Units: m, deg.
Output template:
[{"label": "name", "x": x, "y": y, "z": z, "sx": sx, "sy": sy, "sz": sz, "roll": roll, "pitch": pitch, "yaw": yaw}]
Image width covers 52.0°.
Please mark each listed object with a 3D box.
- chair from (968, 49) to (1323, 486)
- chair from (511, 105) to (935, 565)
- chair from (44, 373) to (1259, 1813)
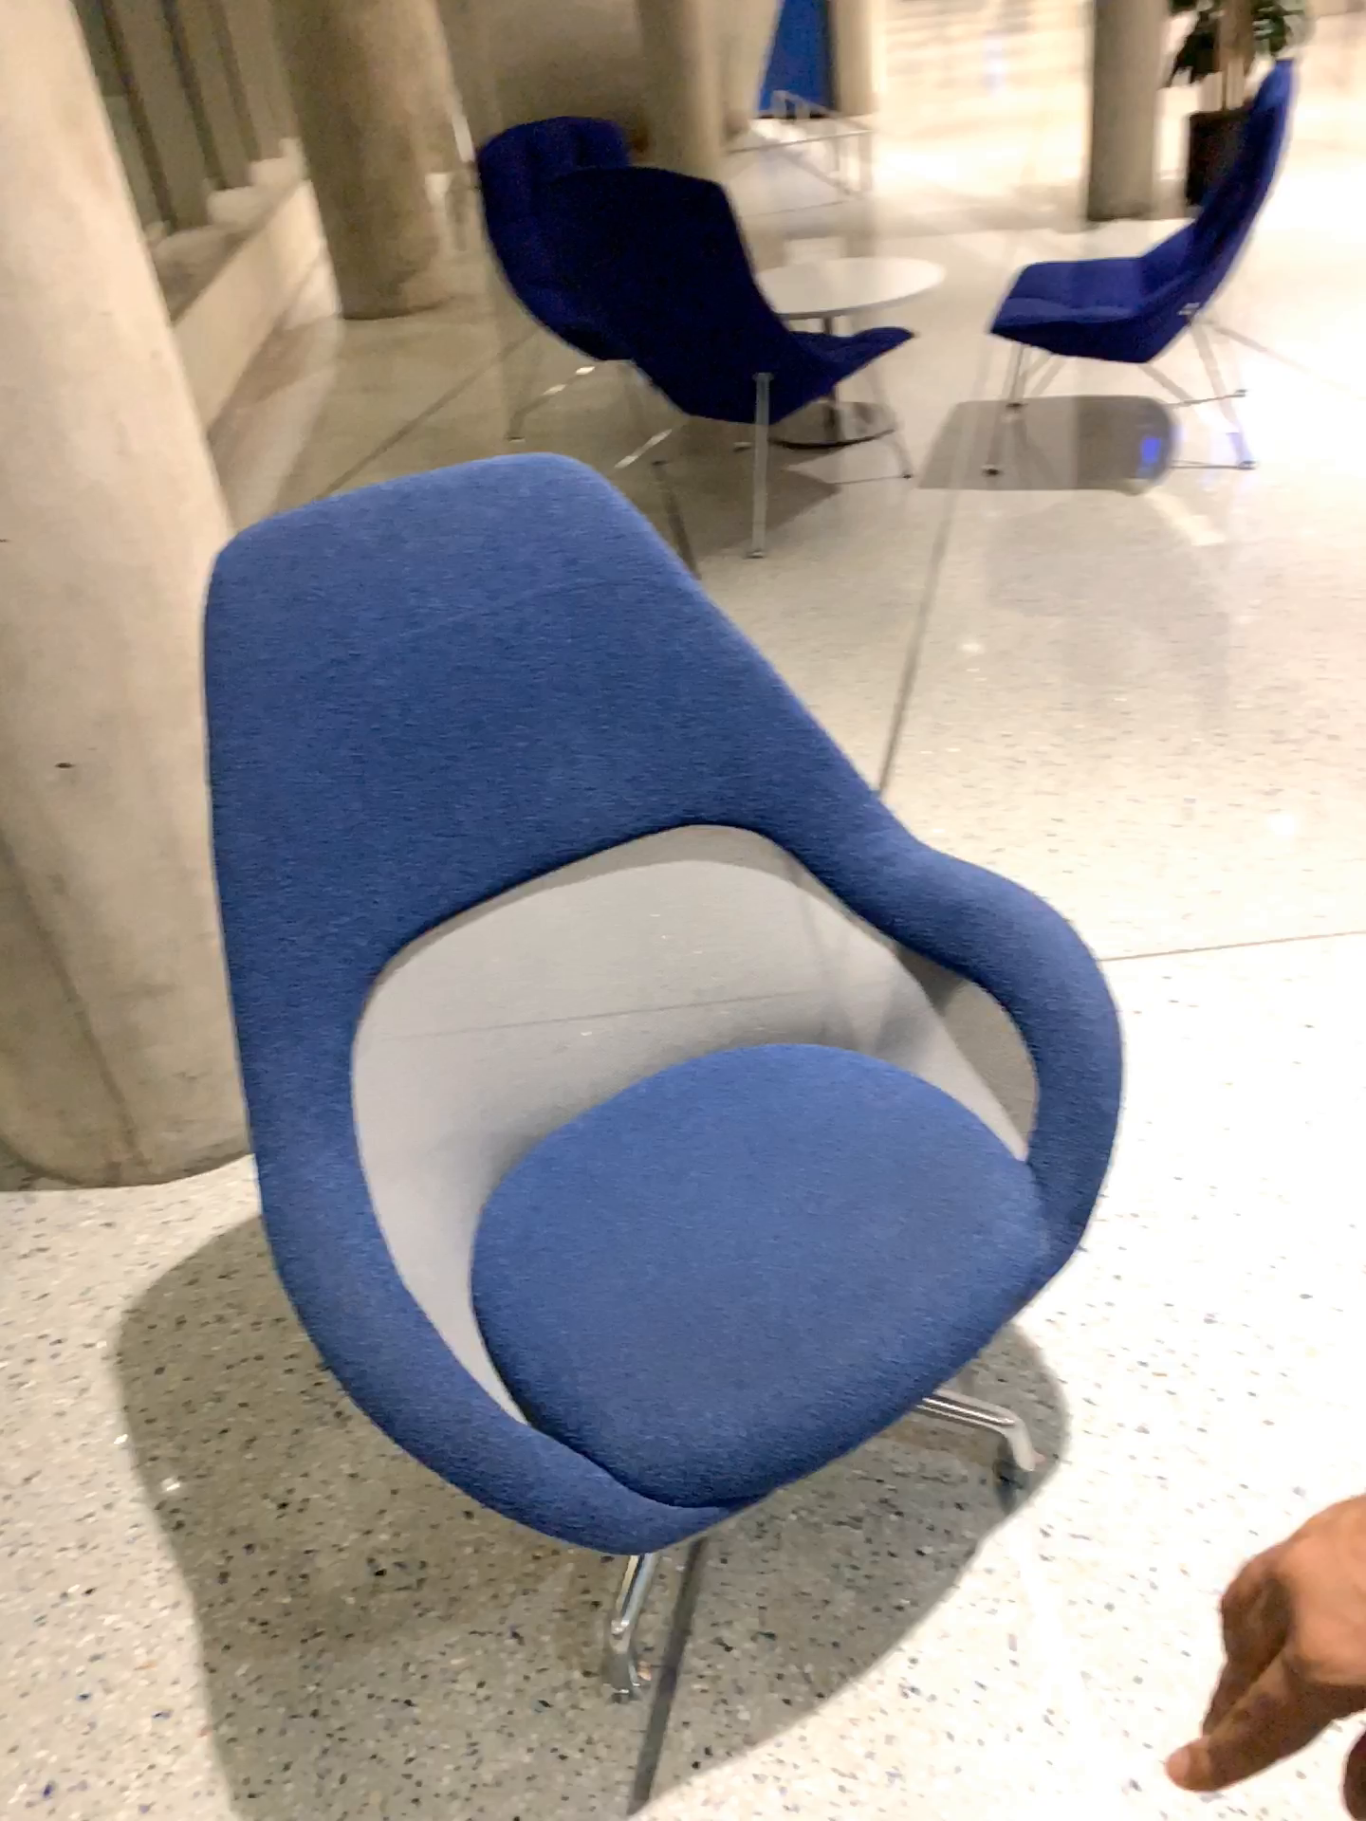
[{"label": "chair", "x": 1.132, "y": -1.615, "z": 3.530, "sx": 0.725, "sy": 0.834, "sz": 0.744, "roll": 4, "pitch": 36, "yaw": 17}, {"label": "chair", "x": 0.131, "y": -1.443, "z": 3.462, "sx": 0.697, "sy": 0.853, "sz": 0.681, "roll": -33, "pitch": 41, "yaw": -33}, {"label": "chair", "x": -0.028, "y": 0.124, "z": 1.316, "sx": 0.716, "sy": 0.961, "sz": 0.639, "roll": -20, "pitch": 36, "yaw": -18}]
